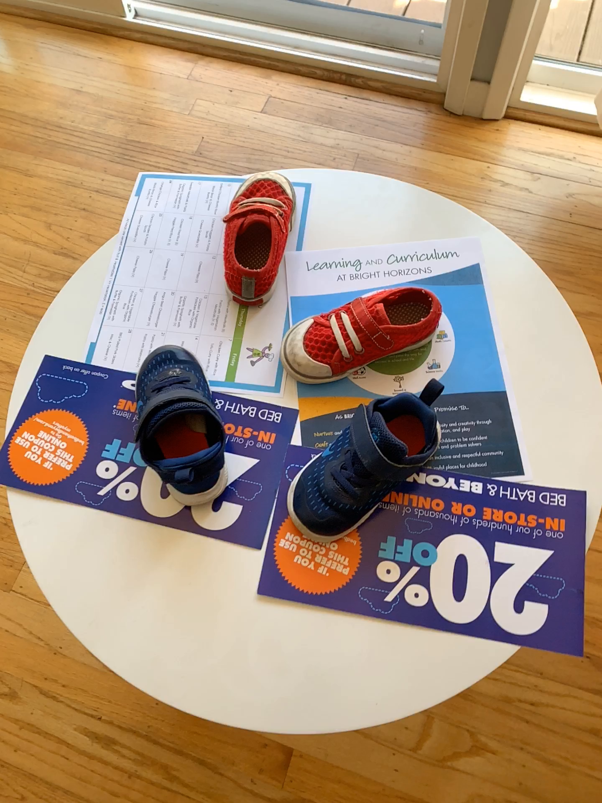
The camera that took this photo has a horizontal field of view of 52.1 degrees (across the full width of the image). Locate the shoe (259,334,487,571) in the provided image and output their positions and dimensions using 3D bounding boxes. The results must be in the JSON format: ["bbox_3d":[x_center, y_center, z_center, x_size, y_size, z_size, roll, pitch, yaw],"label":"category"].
[{"bbox_3d":[0.057,0.044,0.503,0.160,0.100,0.080,-42,71,-14],"label":"shoe"}]

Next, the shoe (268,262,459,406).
[{"bbox_3d":[0.057,-0.063,0.585,0.160,0.070,0.060,-20,67,-5],"label":"shoe"}]

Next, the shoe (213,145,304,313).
[{"bbox_3d":[-0.040,-0.181,0.646,0.070,0.070,0.160,3,67,5],"label":"shoe"}]

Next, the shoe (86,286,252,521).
[{"bbox_3d":[-0.106,0.004,0.508,0.080,0.100,0.150,-19,67,-5],"label":"shoe"}]
